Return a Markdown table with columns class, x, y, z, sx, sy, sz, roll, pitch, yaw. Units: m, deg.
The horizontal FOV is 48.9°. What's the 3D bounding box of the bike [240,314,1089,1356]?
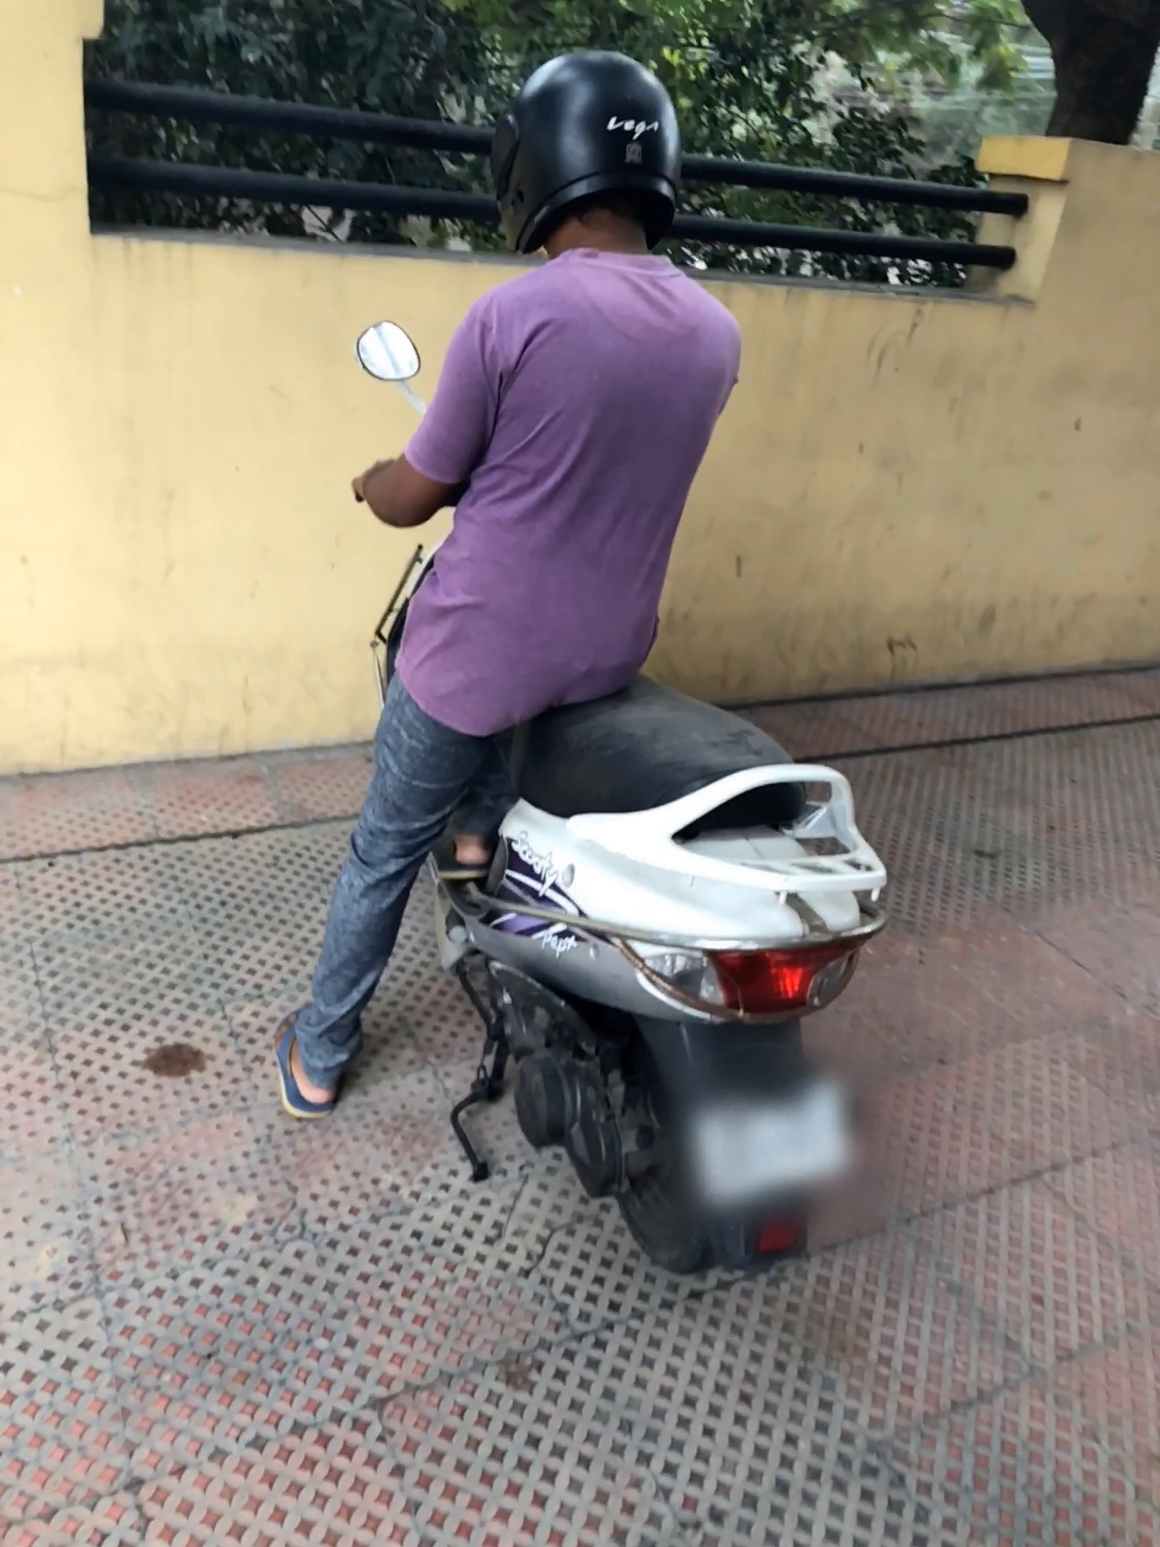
| class | x | y | z | sx | sy | sz | roll | pitch | yaw |
| --- | --- | --- | --- | --- | --- | --- | --- | --- | --- |
| bike | -0.078 | -0.070 | 2.137 | 0.644 | 0.949 | 1.507 | -6 | 32 | -25 |
